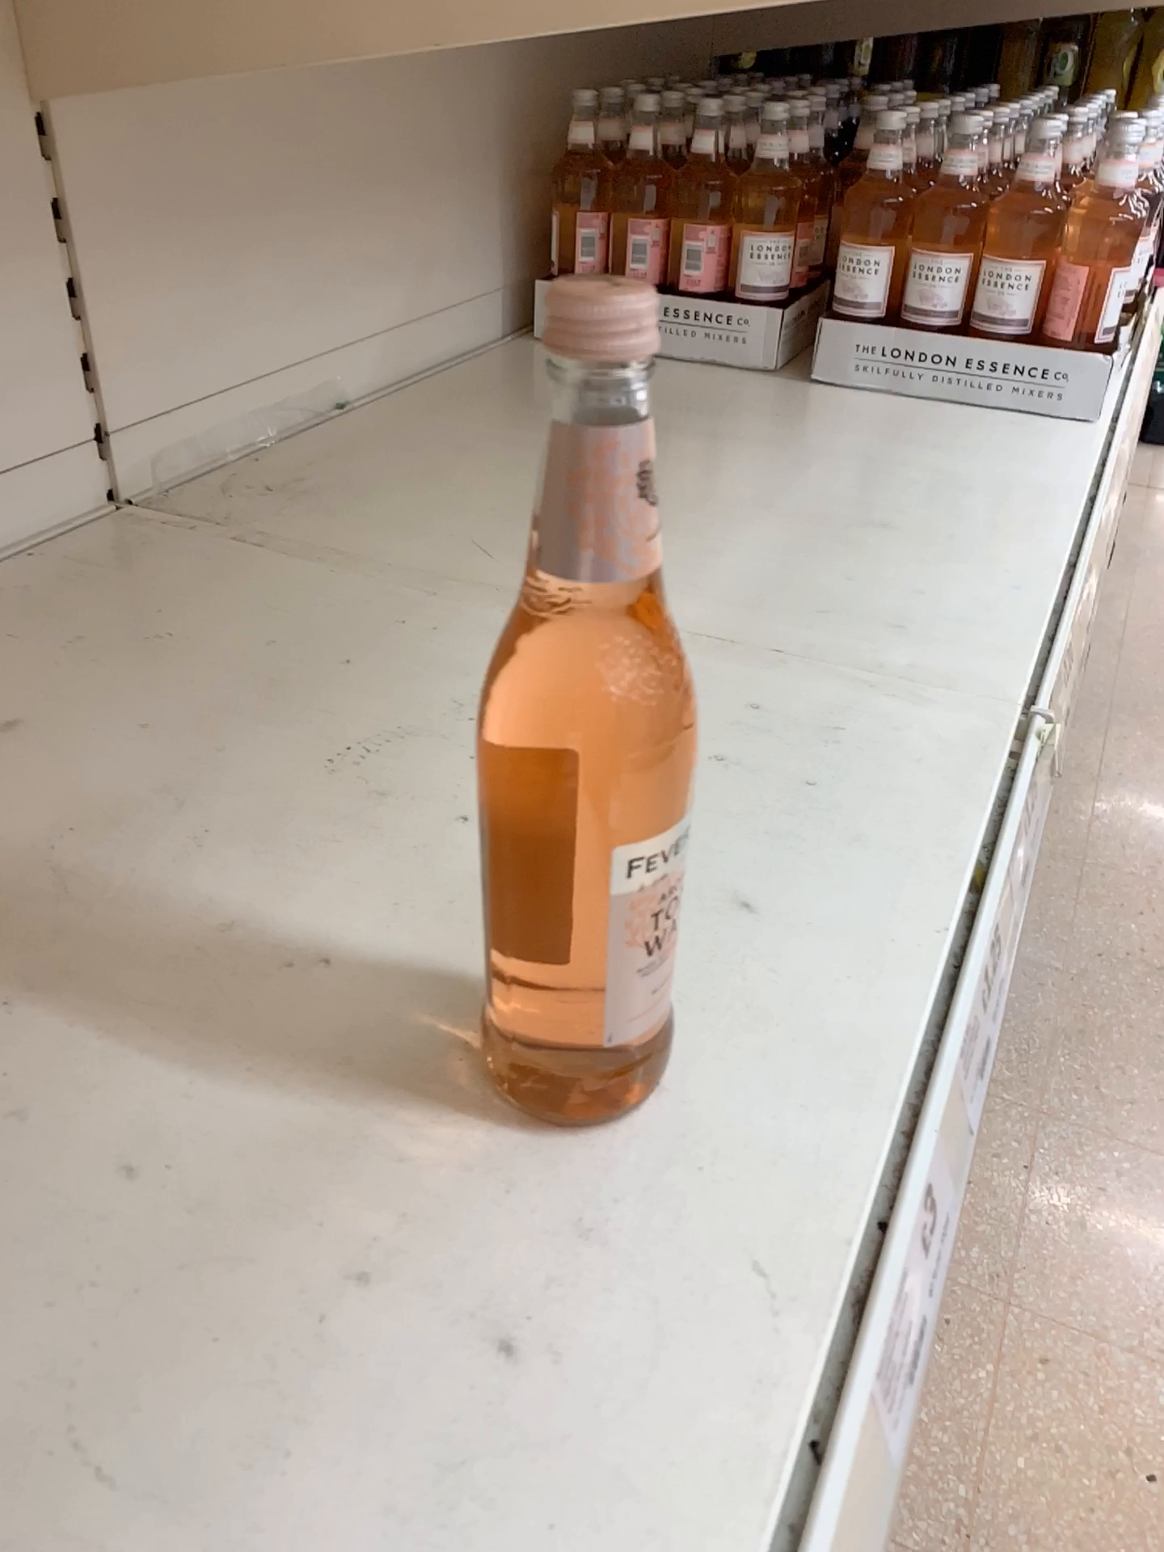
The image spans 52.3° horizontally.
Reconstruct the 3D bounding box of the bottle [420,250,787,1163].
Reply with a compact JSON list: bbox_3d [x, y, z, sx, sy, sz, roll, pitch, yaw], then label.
[{"bbox_3d":[0.005,-0.010,0.351,0.067,0.253,0.078,12,34,15],"label":"bottle"}]
